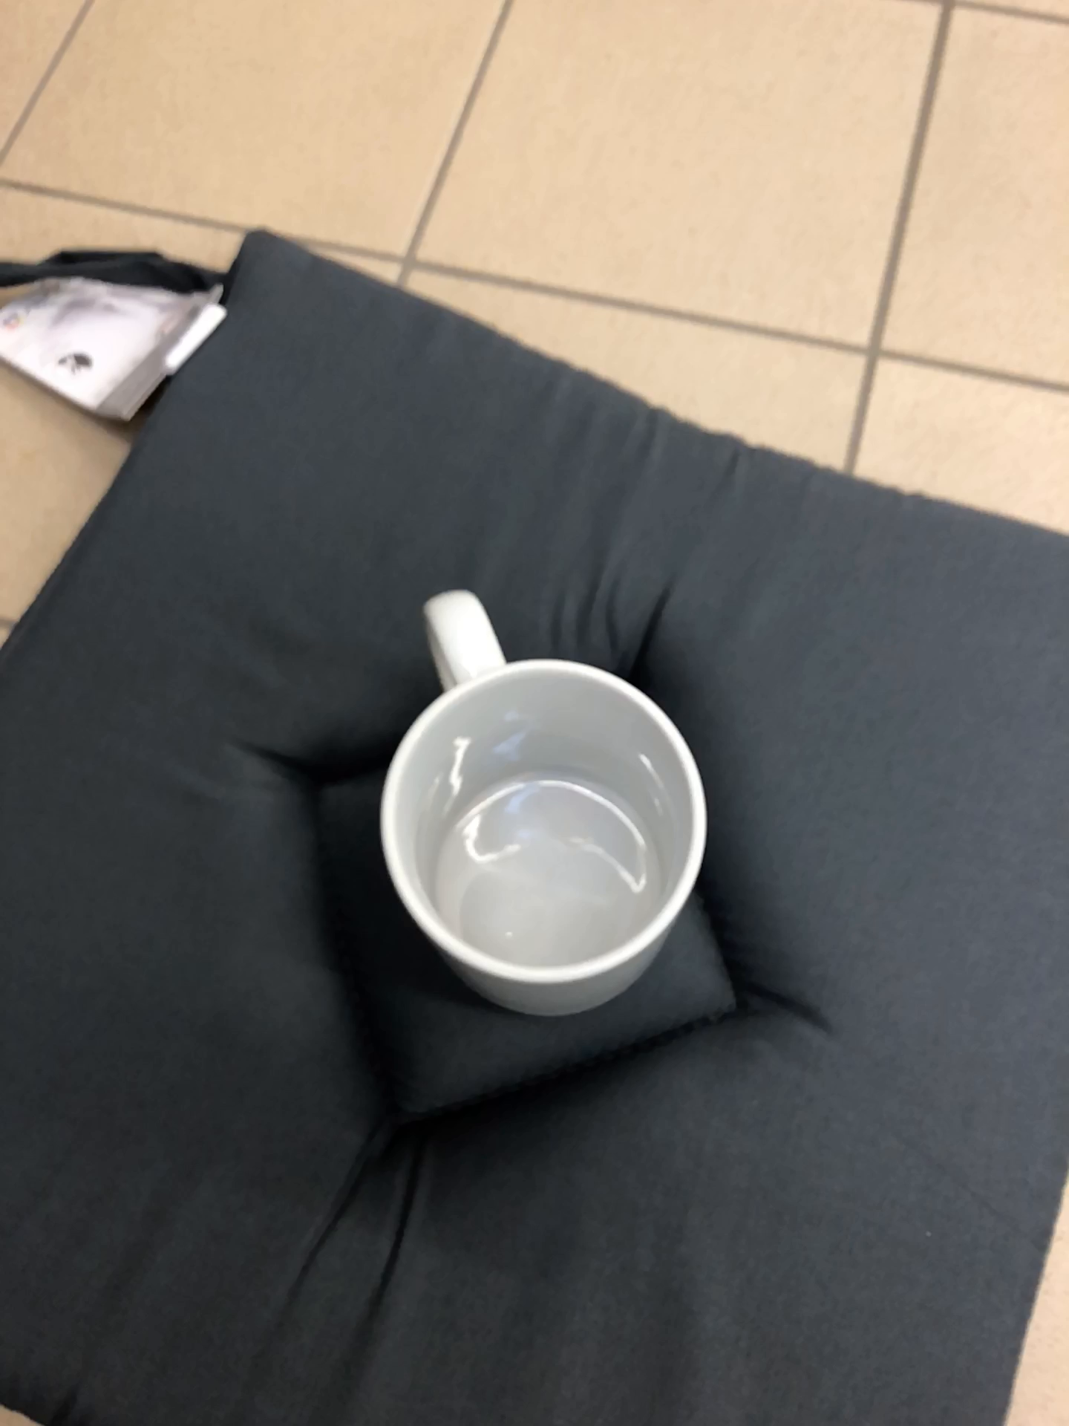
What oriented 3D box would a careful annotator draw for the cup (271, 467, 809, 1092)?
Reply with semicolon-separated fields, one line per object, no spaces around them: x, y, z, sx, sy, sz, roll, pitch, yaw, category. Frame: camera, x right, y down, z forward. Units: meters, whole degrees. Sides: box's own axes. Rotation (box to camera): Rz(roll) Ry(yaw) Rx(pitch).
0.000;0.023;0.334;0.090;0.090;0.130;-21;70;-4;cup
